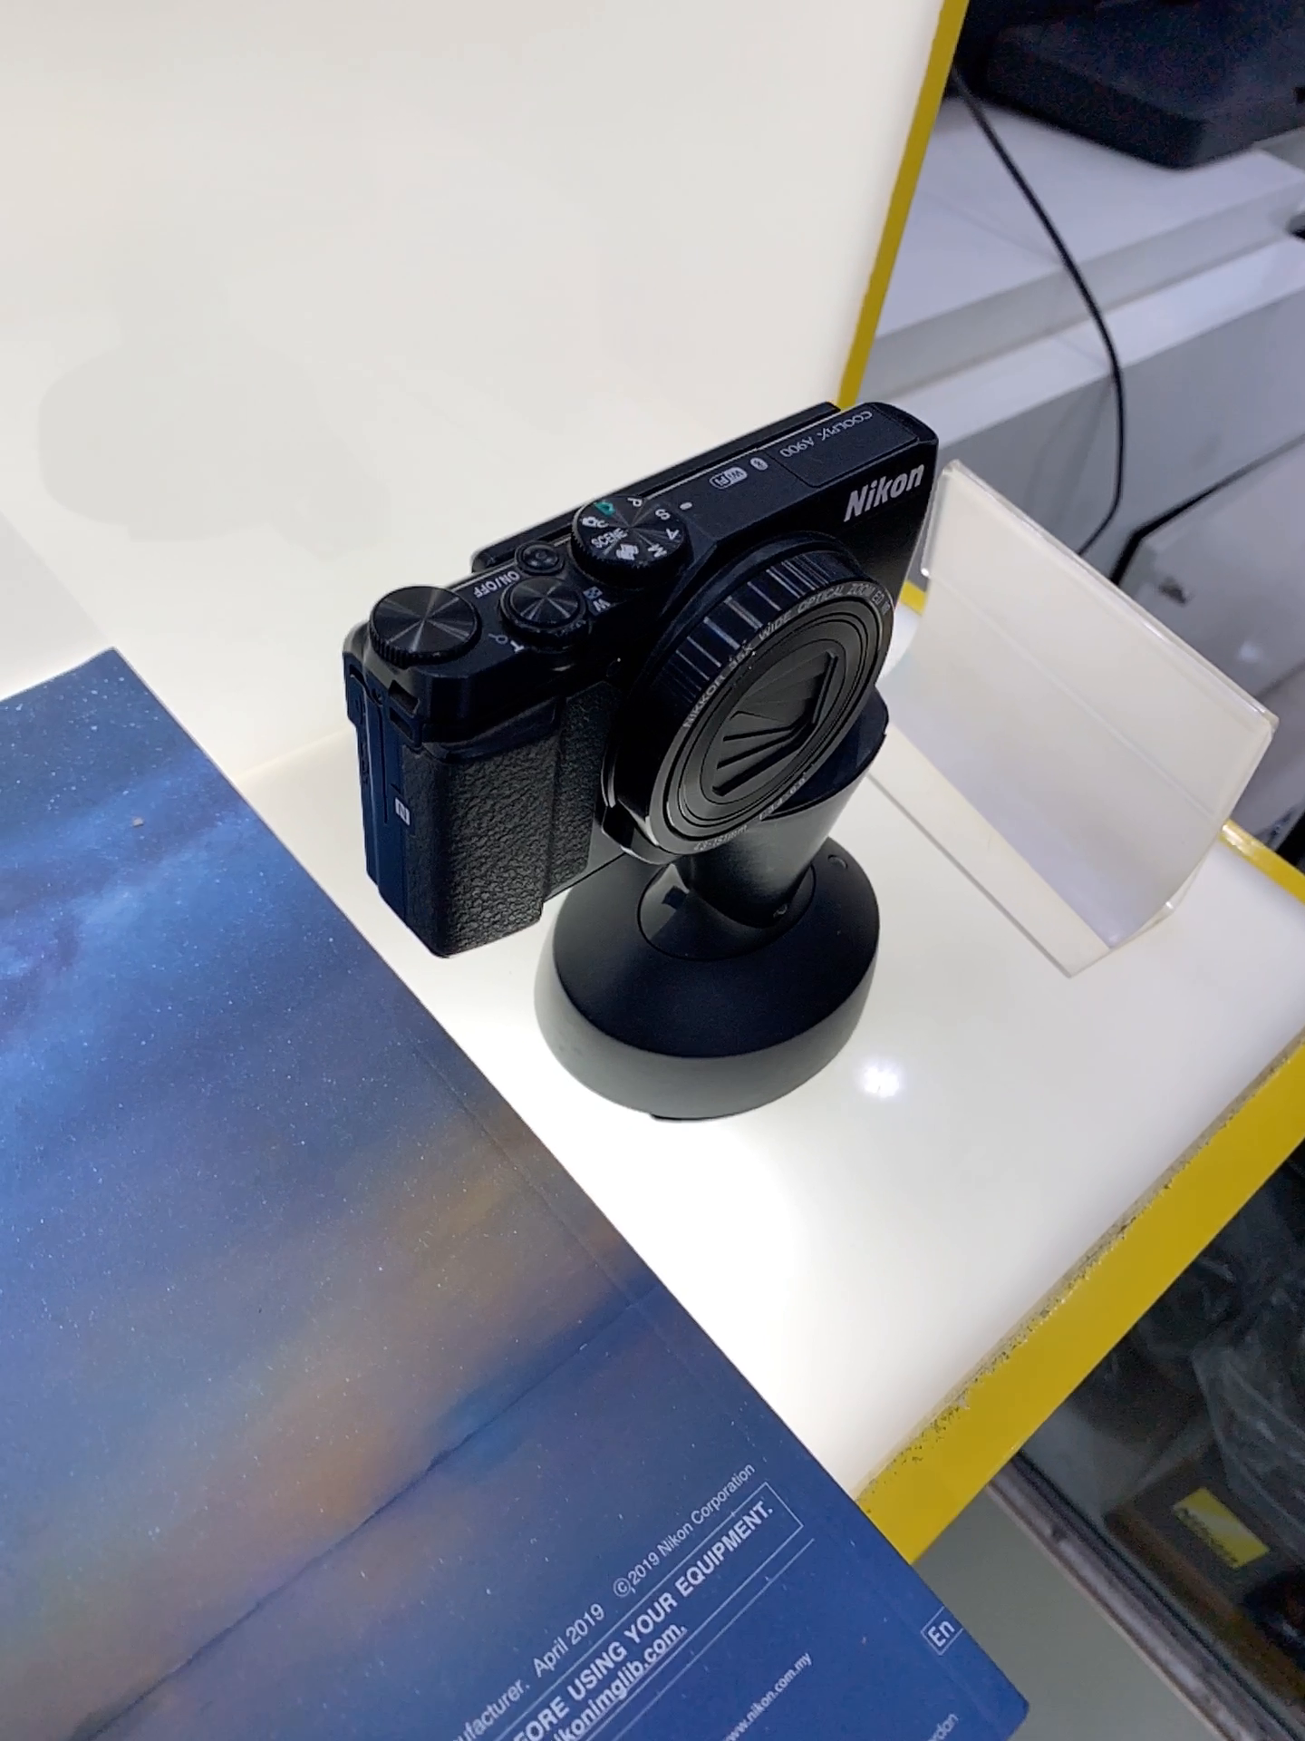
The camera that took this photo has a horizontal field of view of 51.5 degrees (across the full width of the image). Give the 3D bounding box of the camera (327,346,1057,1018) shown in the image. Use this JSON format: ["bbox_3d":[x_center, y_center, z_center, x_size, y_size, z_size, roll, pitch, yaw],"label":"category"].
[{"bbox_3d":[0.008,-0.036,0.230,0.120,0.060,0.040,-33,63,-31],"label":"camera"}]
